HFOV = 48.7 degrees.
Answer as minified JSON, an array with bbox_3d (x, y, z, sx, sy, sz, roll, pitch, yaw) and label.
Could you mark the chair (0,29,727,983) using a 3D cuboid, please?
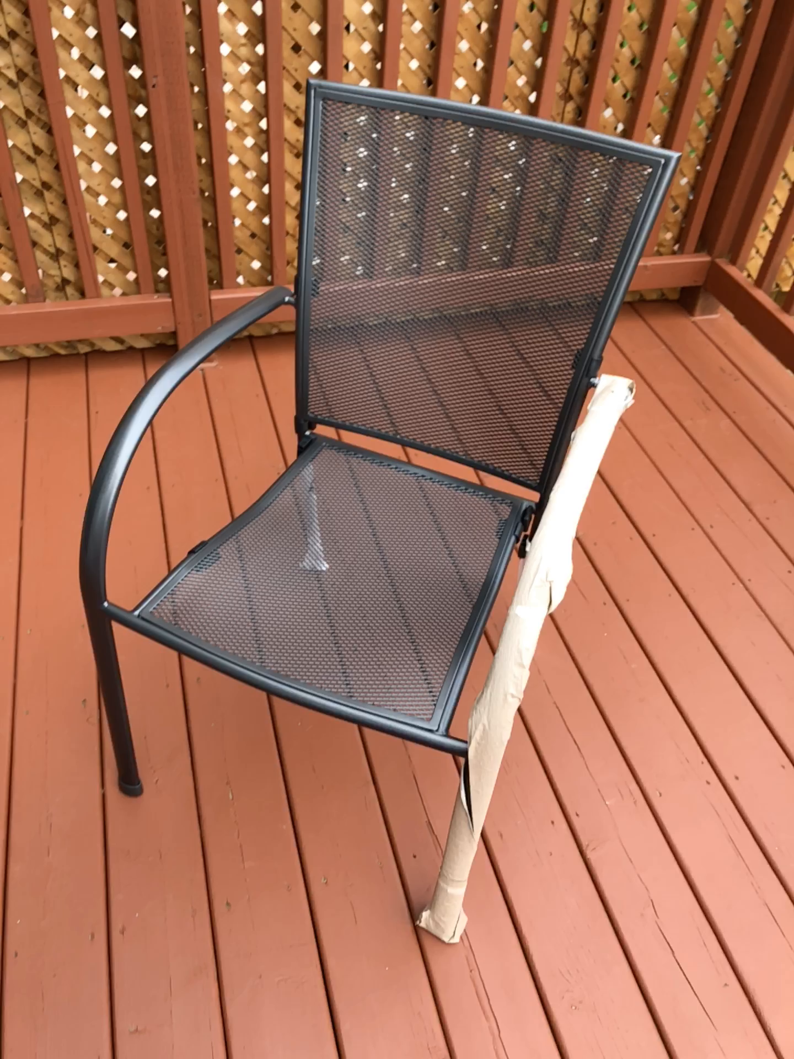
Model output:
[{"bbox_3d":[-0.058,-0.018,1.158,0.600,0.926,0.652,19,45,14],"label":"chair"}]
